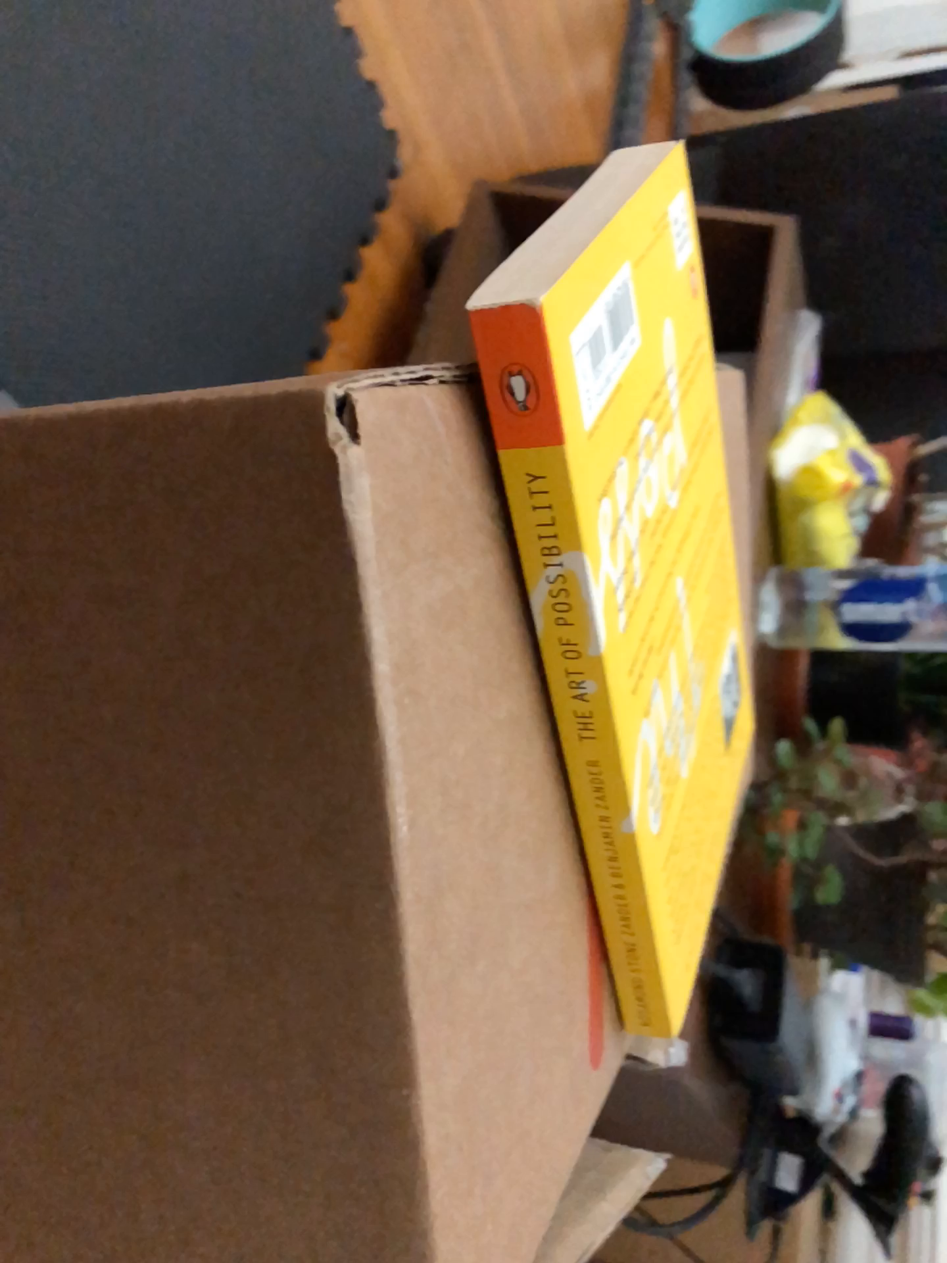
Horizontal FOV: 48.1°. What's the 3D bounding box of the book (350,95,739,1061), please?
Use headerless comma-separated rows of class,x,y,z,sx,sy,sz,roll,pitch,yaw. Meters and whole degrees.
book,0.039,-0.016,0.287,0.151,0.020,0.210,-58,141,-49
